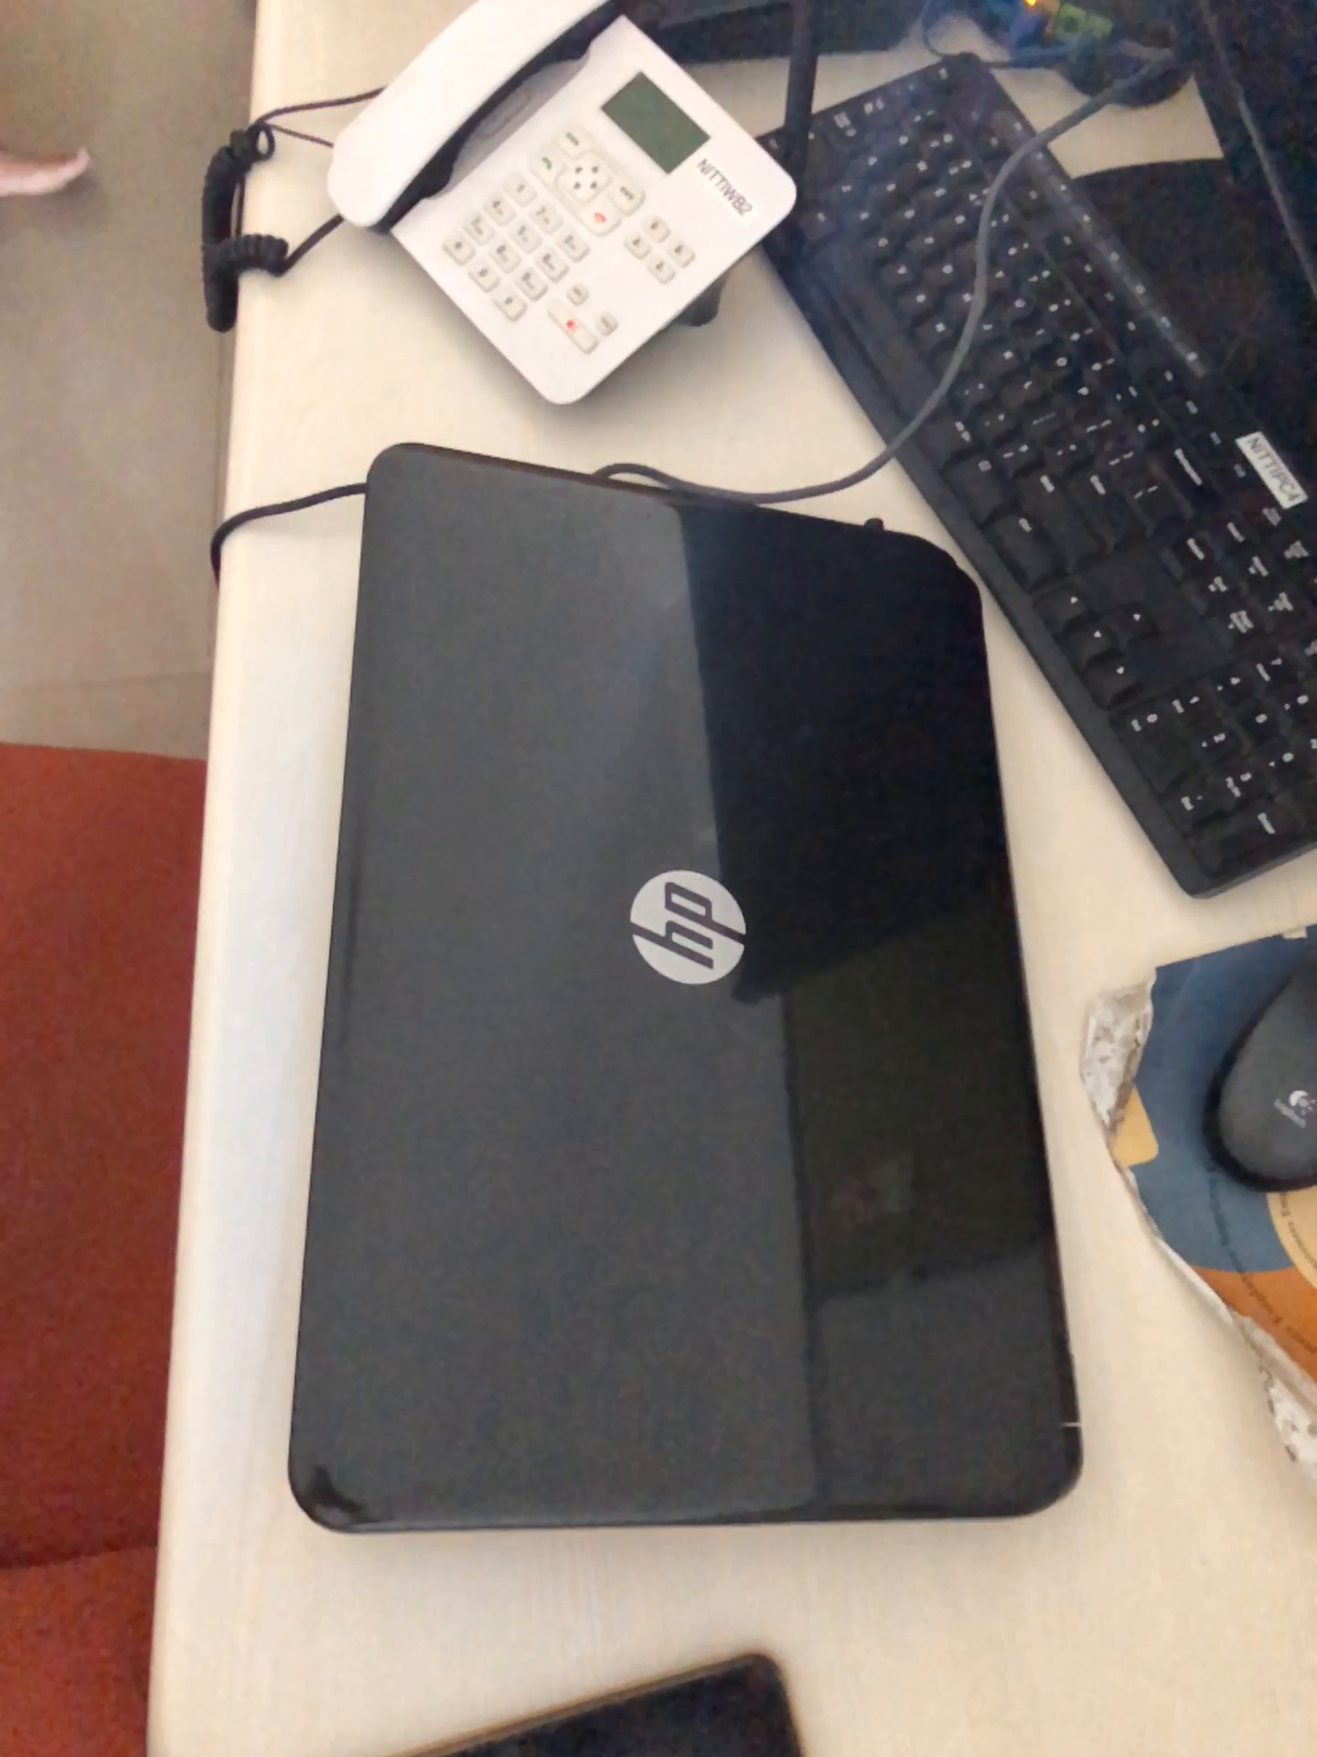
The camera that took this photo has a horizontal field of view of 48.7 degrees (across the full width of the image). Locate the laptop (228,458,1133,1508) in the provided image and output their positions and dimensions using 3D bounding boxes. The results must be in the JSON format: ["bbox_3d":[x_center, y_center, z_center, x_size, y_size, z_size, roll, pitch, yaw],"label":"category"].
[{"bbox_3d":[0.004,0.022,0.497,0.245,0.072,0.351,0,66,0],"label":"laptop"}]
